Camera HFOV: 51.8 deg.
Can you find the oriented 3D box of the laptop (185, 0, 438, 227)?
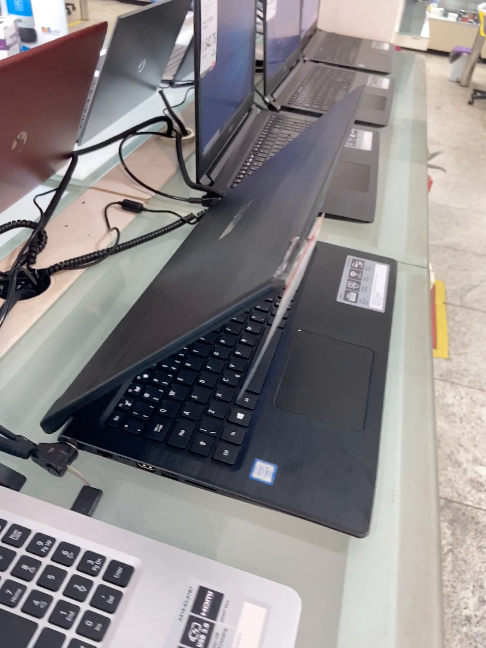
[{"bbox_3d":[0.101,-0.397,0.803,0.284,0.245,0.434,12,39,6],"label":"laptop"}]

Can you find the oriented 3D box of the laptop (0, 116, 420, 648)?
[{"bbox_3d":[-0.155,0.161,0.116,0.301,0.233,0.398,16,41,10],"label":"laptop"}]

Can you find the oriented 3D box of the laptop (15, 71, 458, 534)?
[{"bbox_3d":[0.037,-0.065,0.451,0.233,0.186,0.376,15,41,10],"label":"laptop"}]
